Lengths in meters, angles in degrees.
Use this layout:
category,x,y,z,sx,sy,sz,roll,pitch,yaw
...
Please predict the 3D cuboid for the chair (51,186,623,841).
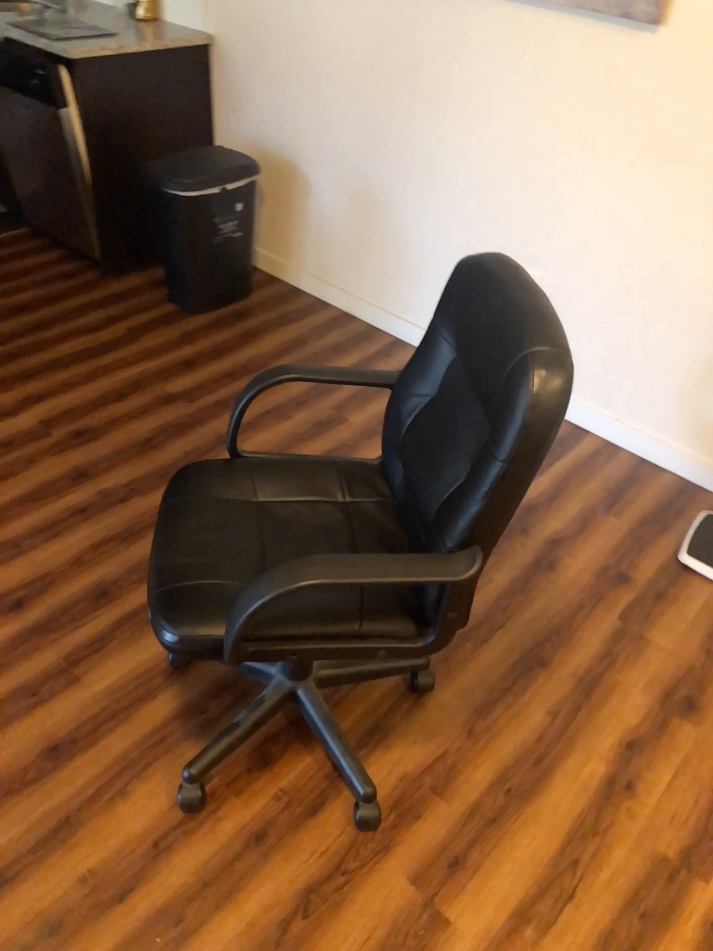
category,x,y,z,sx,sy,sz,roll,pitch,yaw
chair,-0.077,0.091,1.479,0.667,1.012,0.665,0,38,-7
